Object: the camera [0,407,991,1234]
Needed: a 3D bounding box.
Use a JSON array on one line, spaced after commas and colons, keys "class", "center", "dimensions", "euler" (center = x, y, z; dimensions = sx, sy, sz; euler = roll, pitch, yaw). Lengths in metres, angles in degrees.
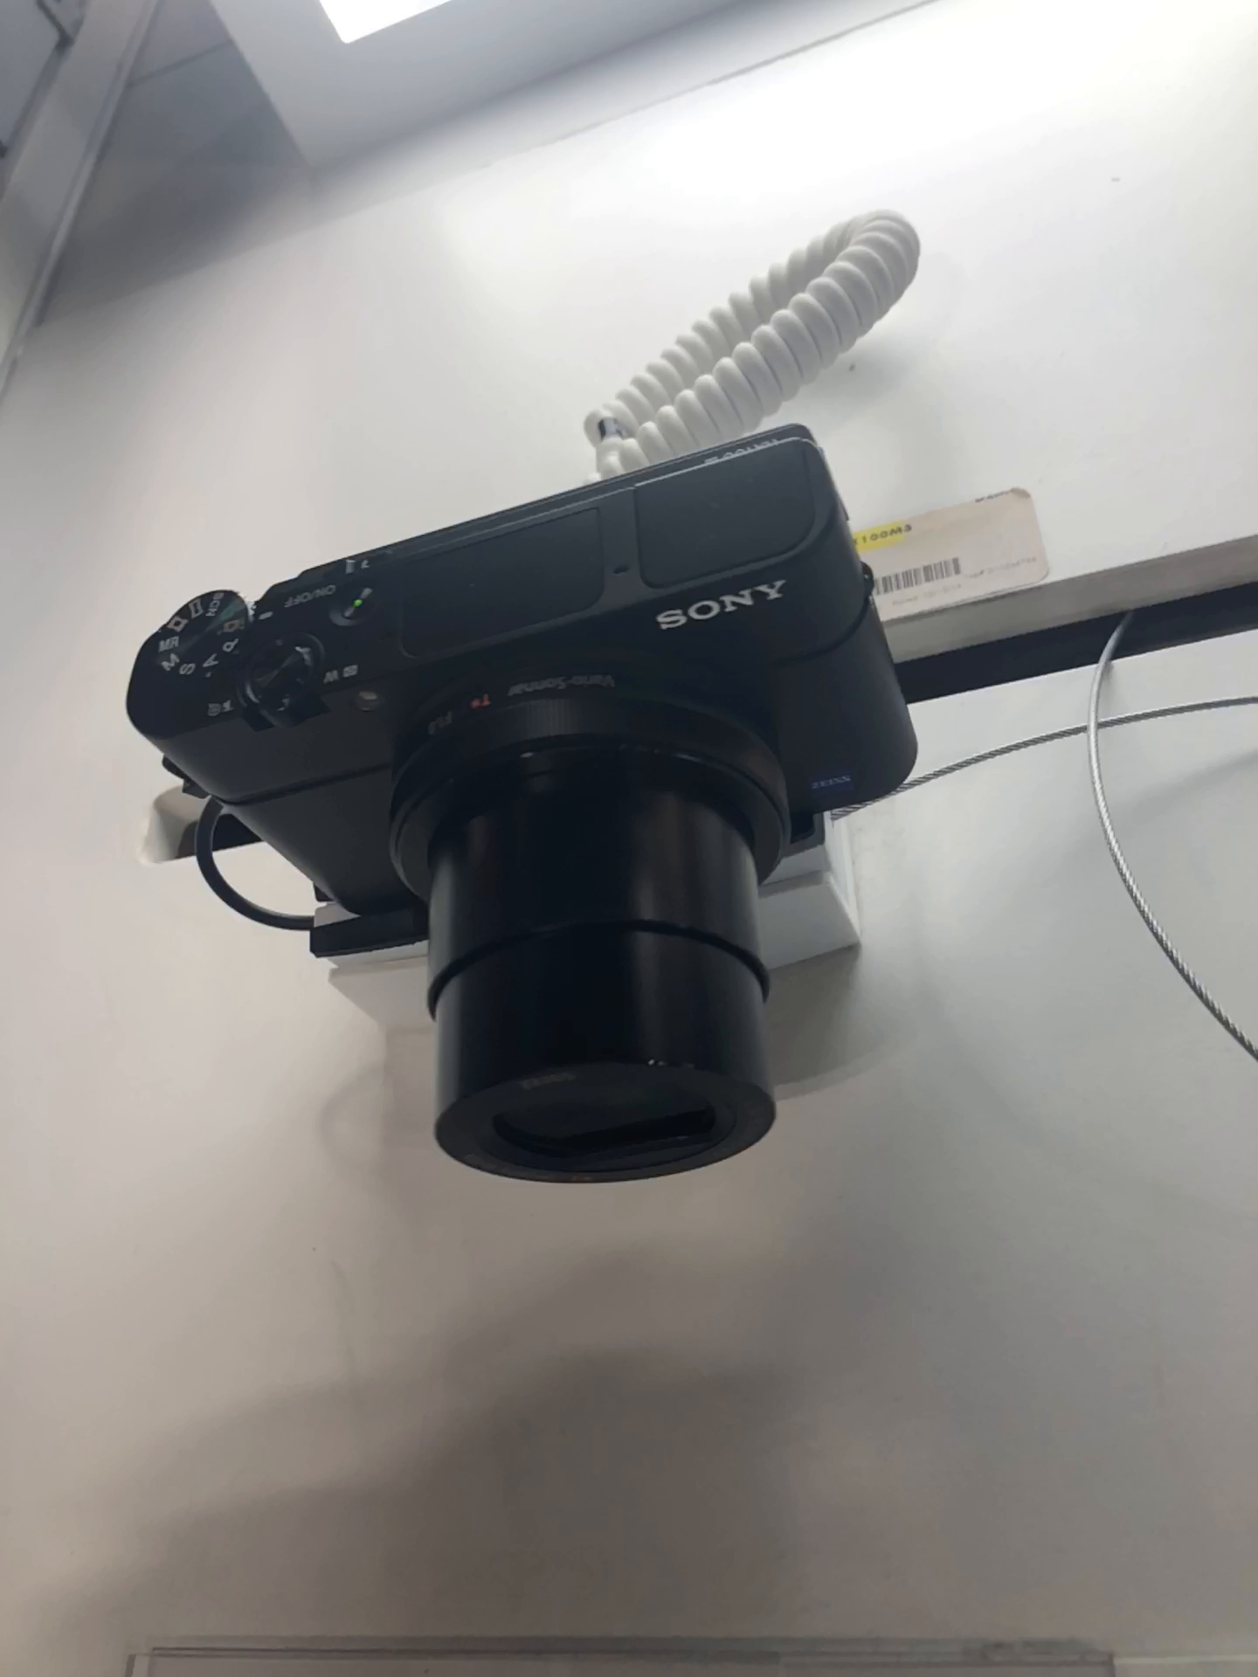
[{"class": "camera", "center": [-0.012, 0.005, 0.198], "dimensions": [0.105, 0.074, 0.070], "euler": [-11, 54, 18]}]
